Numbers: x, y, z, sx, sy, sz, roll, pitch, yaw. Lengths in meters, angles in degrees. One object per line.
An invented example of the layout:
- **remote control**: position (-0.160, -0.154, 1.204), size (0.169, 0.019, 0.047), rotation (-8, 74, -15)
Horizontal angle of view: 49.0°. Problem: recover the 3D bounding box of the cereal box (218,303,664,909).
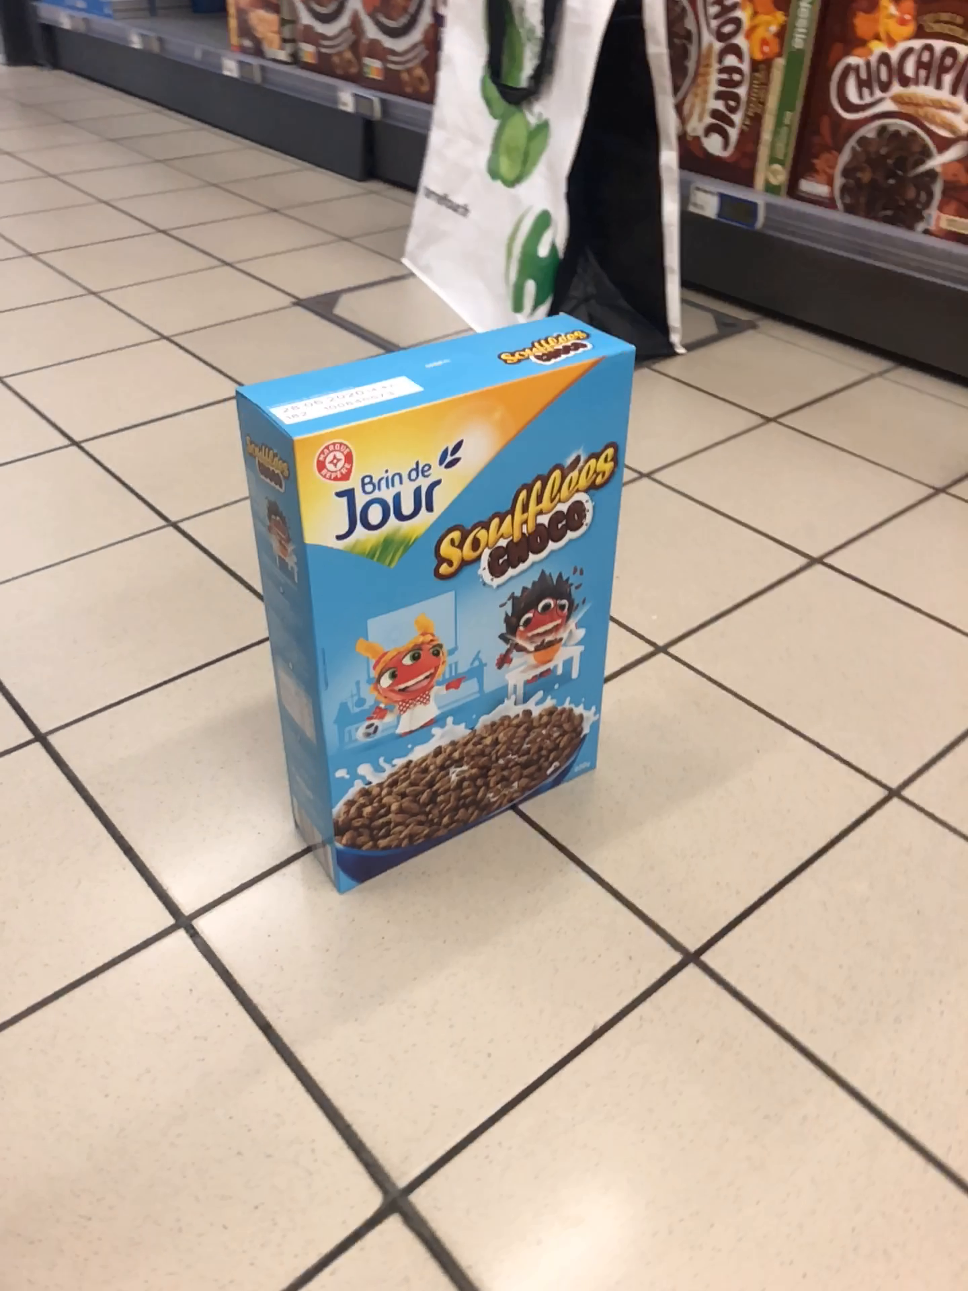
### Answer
- **cereal box**: position (-0.019, -0.019, 0.592), size (0.201, 0.288, 0.080), rotation (-21, 41, -27)
